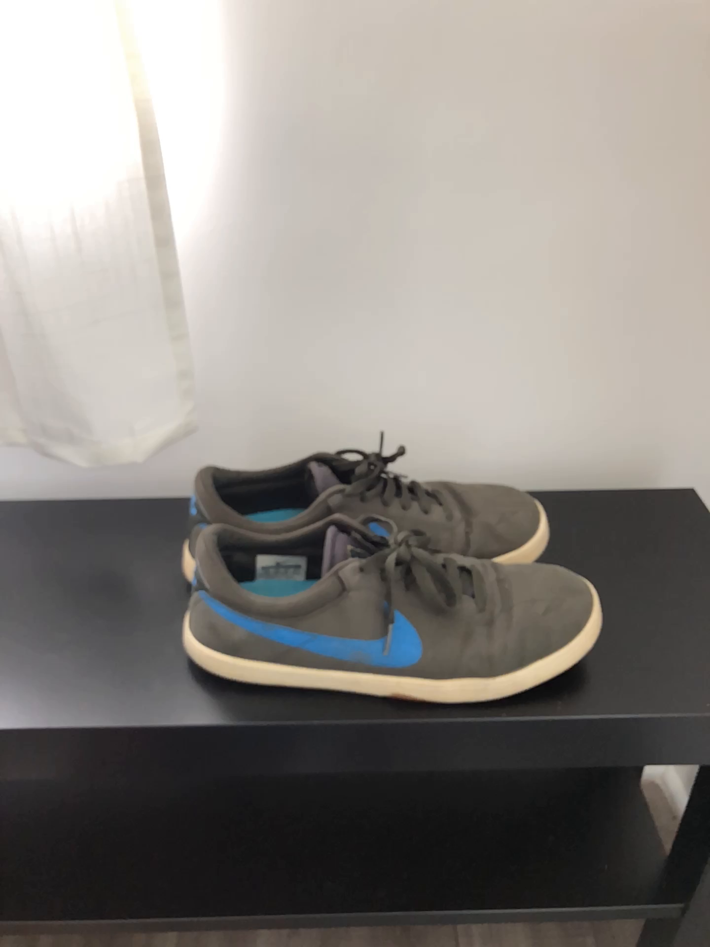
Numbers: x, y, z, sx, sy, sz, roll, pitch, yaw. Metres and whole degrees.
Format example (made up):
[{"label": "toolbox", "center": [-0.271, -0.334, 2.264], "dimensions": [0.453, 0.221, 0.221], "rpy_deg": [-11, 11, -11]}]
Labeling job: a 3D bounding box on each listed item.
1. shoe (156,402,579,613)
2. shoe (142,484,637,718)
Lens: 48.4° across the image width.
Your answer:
[{"label": "shoe", "center": [0.007, 0.023, 0.593], "dimensions": [0.280, 0.110, 0.100], "rpy_deg": [-2, 32, -3]}, {"label": "shoe", "center": [0.019, 0.081, 0.518], "dimensions": [0.280, 0.110, 0.100], "rpy_deg": [0, 32, 1]}]
